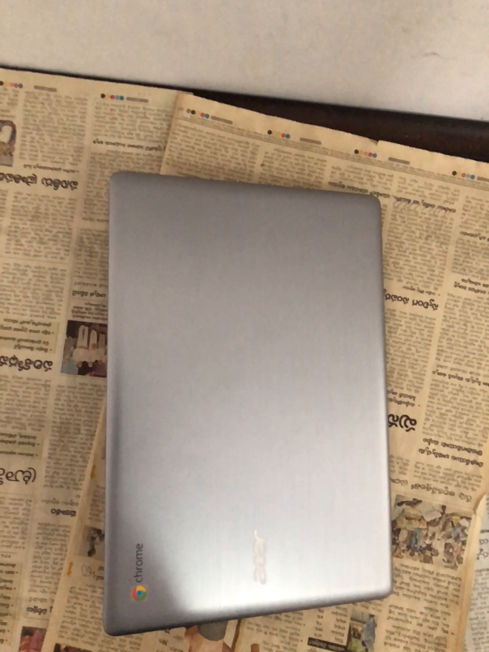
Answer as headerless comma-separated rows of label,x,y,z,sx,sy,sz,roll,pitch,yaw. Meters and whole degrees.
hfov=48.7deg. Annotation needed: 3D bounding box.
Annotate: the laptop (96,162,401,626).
laptop,0.002,0.045,0.420,0.210,0.058,0.330,0,84,-1
